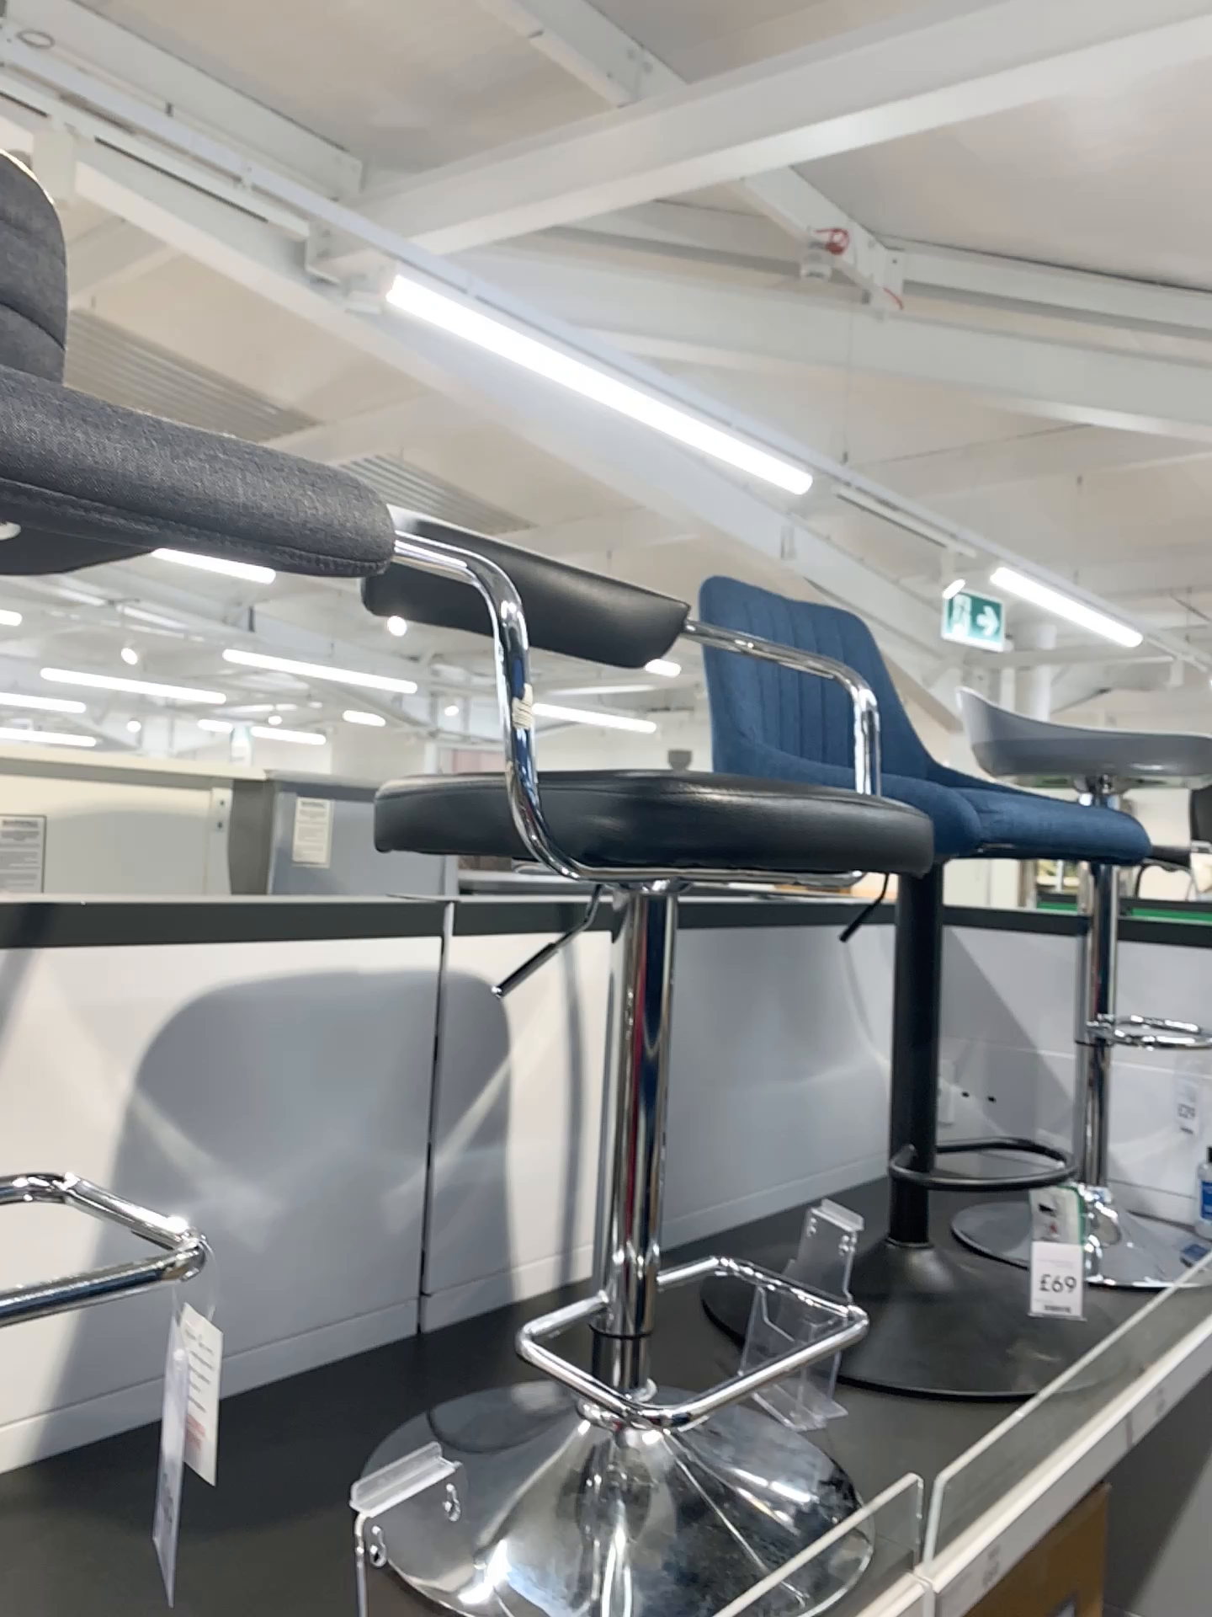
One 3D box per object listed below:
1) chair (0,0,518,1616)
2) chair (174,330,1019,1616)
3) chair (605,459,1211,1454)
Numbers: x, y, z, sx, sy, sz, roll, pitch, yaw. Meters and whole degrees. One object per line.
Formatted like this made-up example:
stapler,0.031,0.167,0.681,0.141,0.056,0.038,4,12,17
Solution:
chair,-0.421,0.013,0.655,0.466,1.065,0.511,1,-4,37
chair,0.021,0.146,1.077,0.466,0.855,0.511,1,-4,37
chair,0.398,0.142,1.578,0.536,0.955,0.521,0,-4,42
